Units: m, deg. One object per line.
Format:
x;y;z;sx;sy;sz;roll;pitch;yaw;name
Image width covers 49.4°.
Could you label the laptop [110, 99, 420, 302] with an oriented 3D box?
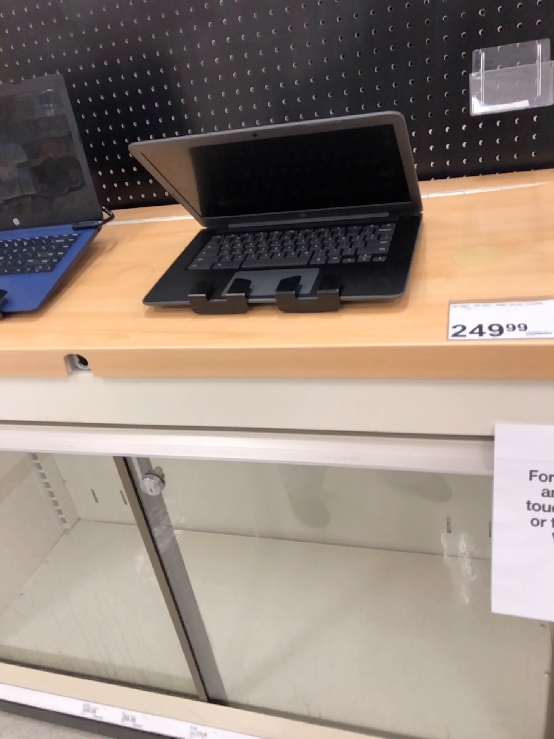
0.000;-0.206;0.741;0.319;0.144;0.201;1;36;19;laptop
